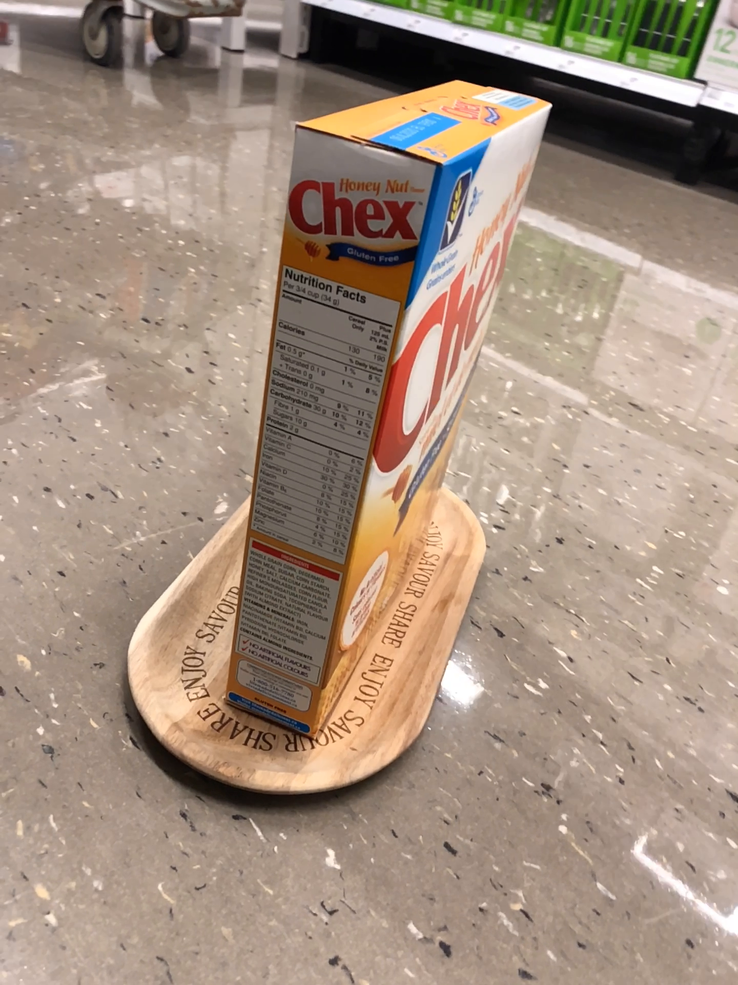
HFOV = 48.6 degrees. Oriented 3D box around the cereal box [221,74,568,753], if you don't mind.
[{"bbox_3d":[0.014,-0.046,0.416,0.060,0.279,0.211,20,34,12],"label":"cereal box"}]
